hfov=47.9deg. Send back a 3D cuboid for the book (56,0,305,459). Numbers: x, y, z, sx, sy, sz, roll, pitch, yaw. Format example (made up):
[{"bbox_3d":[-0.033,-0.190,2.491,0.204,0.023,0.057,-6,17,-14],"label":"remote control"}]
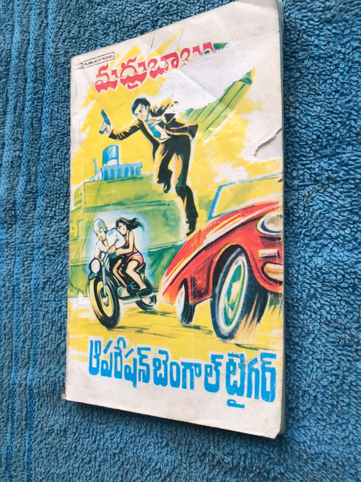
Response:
[{"bbox_3d":[-0.003,-0.008,0.168,0.100,0.020,0.160,-2,85,26],"label":"book"}]
